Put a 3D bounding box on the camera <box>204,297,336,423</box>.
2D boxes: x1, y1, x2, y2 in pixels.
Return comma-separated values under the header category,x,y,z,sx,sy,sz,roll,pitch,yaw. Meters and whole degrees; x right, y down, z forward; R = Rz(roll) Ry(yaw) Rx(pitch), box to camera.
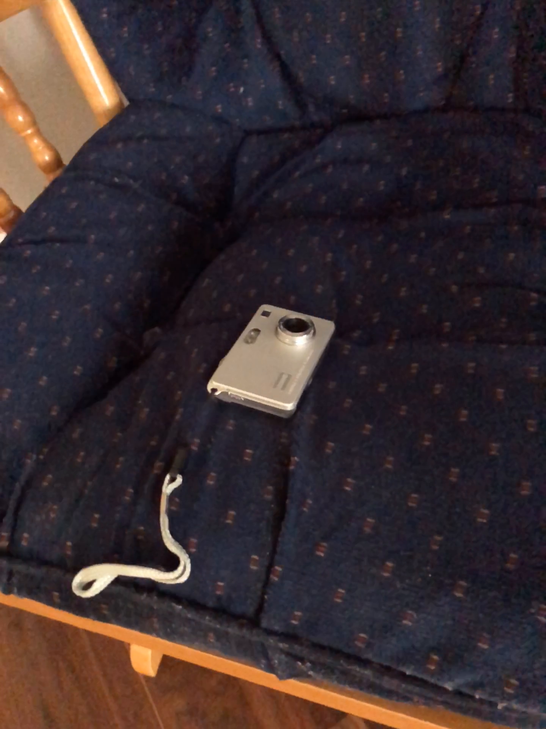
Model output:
category,x,y,z,sx,sy,sz,roll,pitch,yaw
camera,0.000,-0.006,0.395,0.058,0.018,0.085,15,47,16
